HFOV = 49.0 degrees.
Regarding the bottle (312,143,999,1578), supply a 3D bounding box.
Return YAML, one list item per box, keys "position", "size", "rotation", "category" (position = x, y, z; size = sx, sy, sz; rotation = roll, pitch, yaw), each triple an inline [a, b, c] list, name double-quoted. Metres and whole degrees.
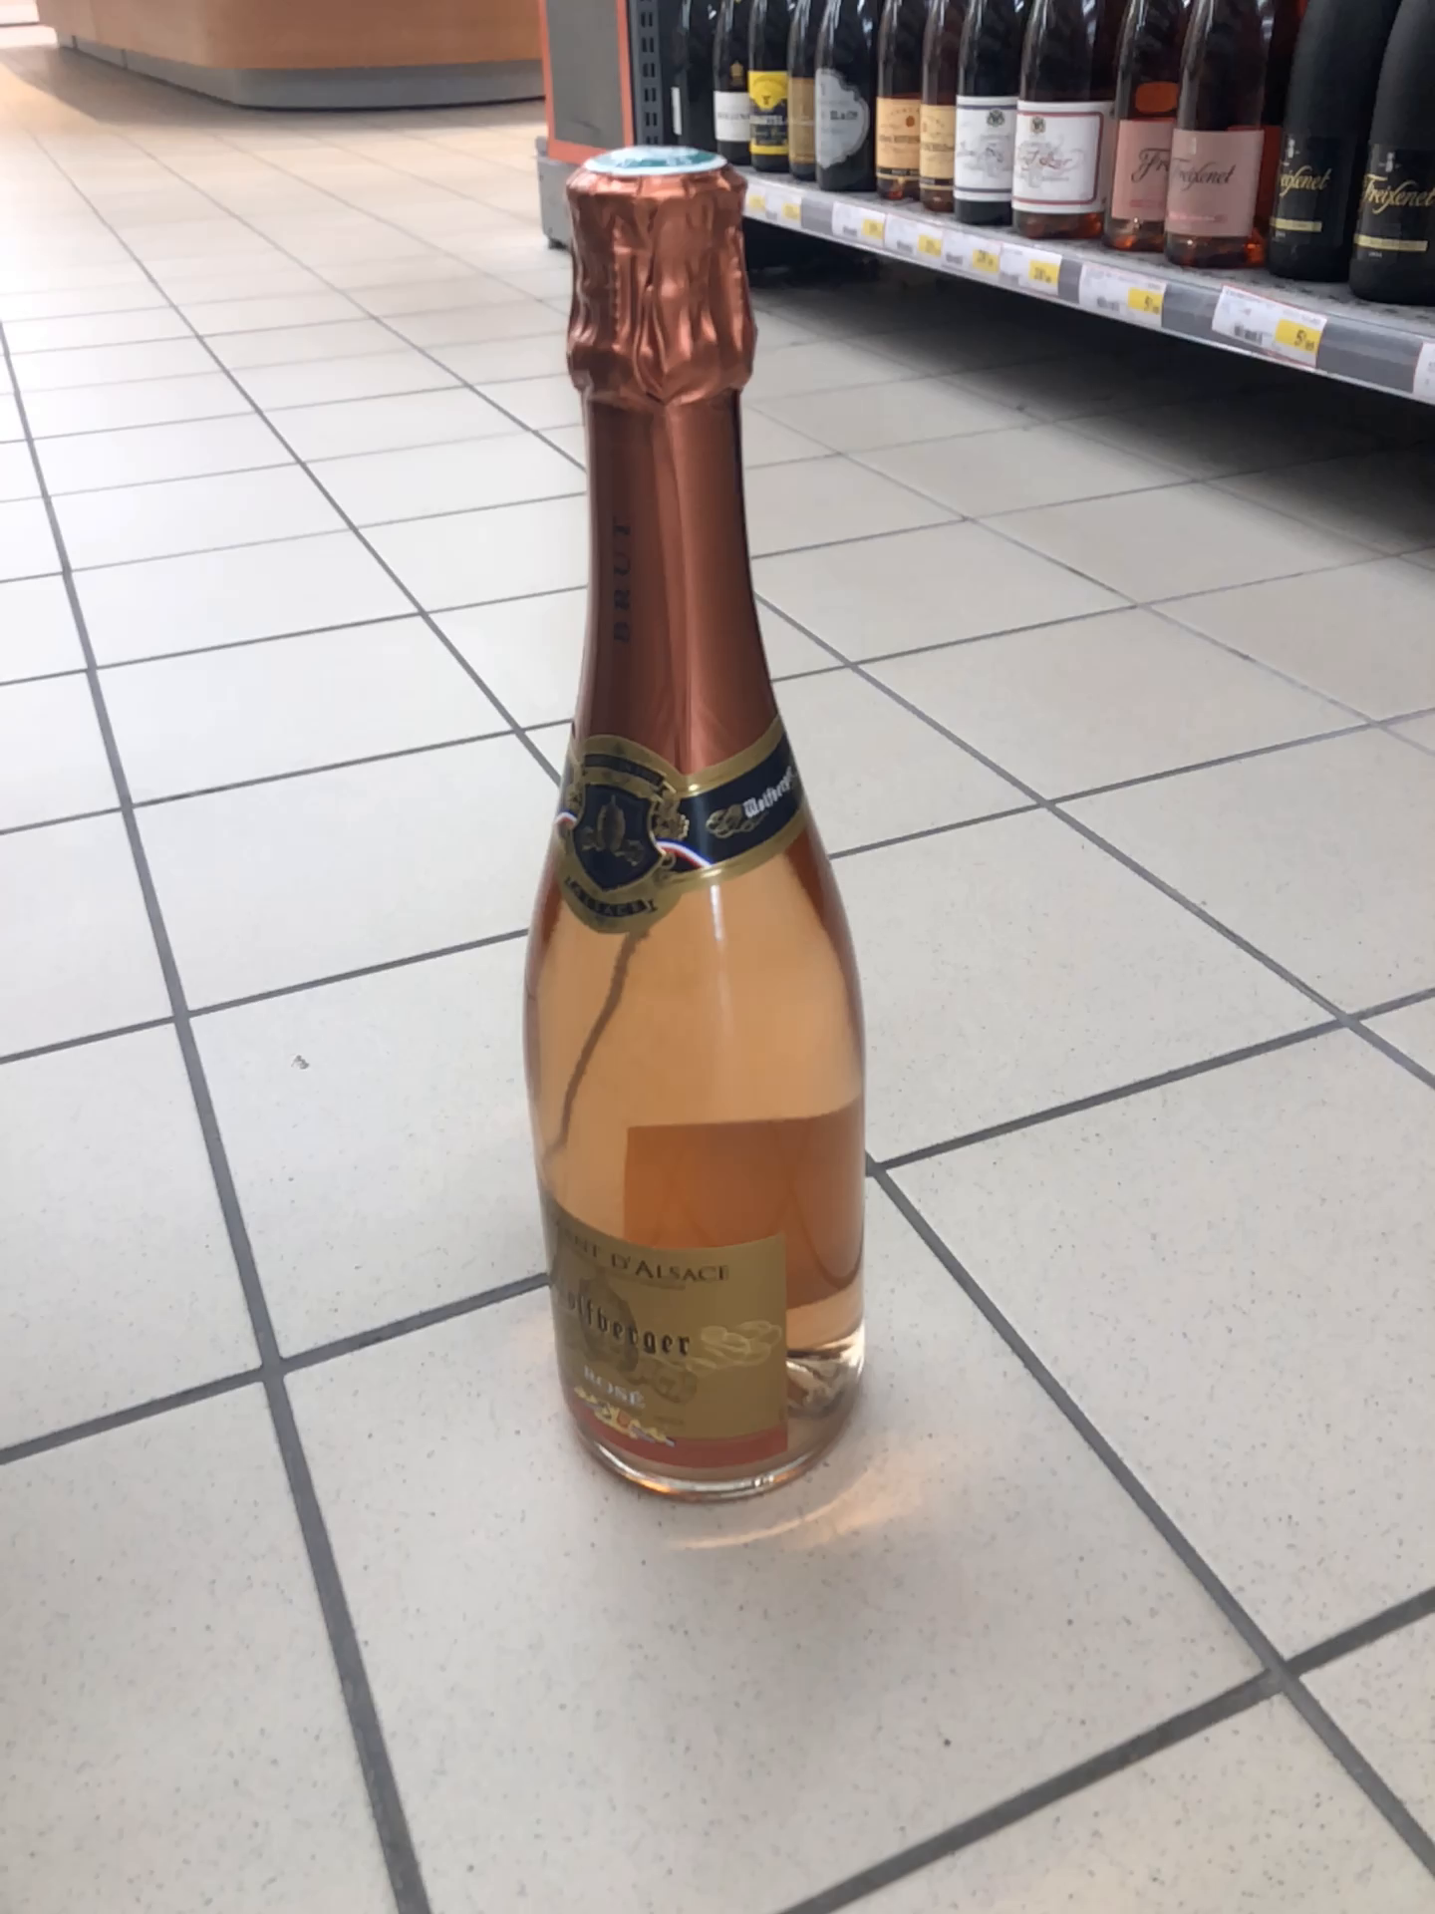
- position: [-0.004, -0.011, 0.364]
  size: [0.090, 0.308, 0.091]
  rotation: [-2, 31, 1]
  category: "bottle"
